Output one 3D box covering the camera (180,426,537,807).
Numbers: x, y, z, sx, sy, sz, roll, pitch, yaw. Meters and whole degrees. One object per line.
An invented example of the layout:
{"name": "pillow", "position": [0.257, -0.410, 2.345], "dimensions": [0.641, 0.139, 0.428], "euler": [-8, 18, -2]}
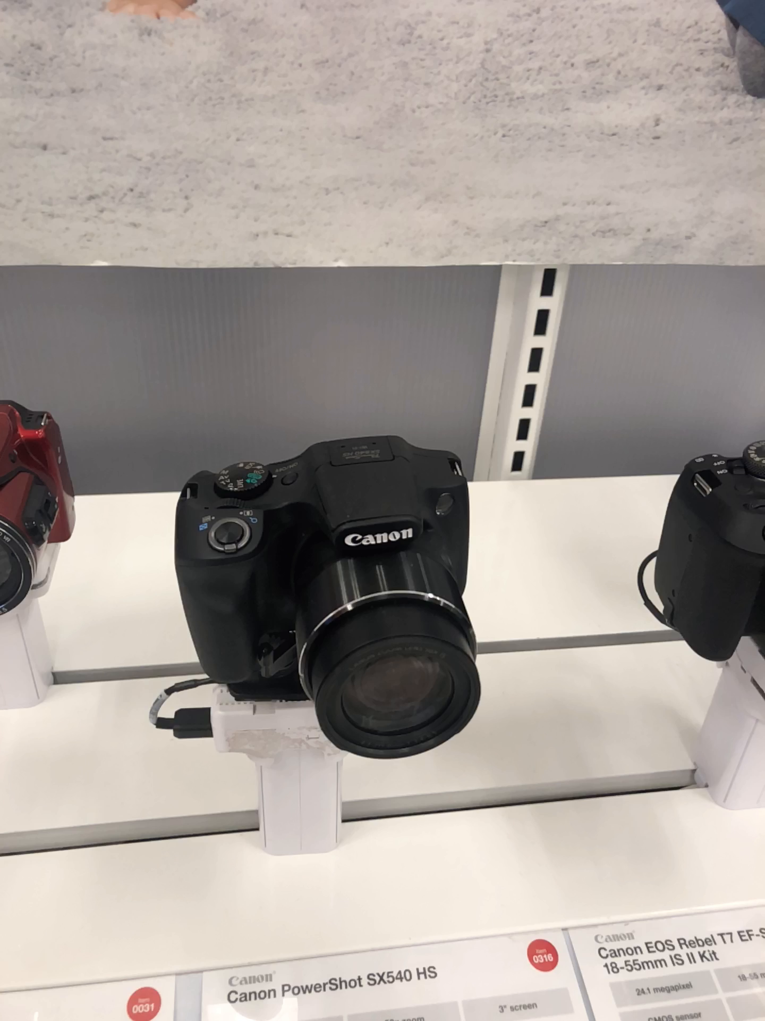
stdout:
{"name": "camera", "position": [-0.016, 0.031, 0.295], "dimensions": [0.100, 0.076, 0.099], "euler": [-4, 36, -11]}
